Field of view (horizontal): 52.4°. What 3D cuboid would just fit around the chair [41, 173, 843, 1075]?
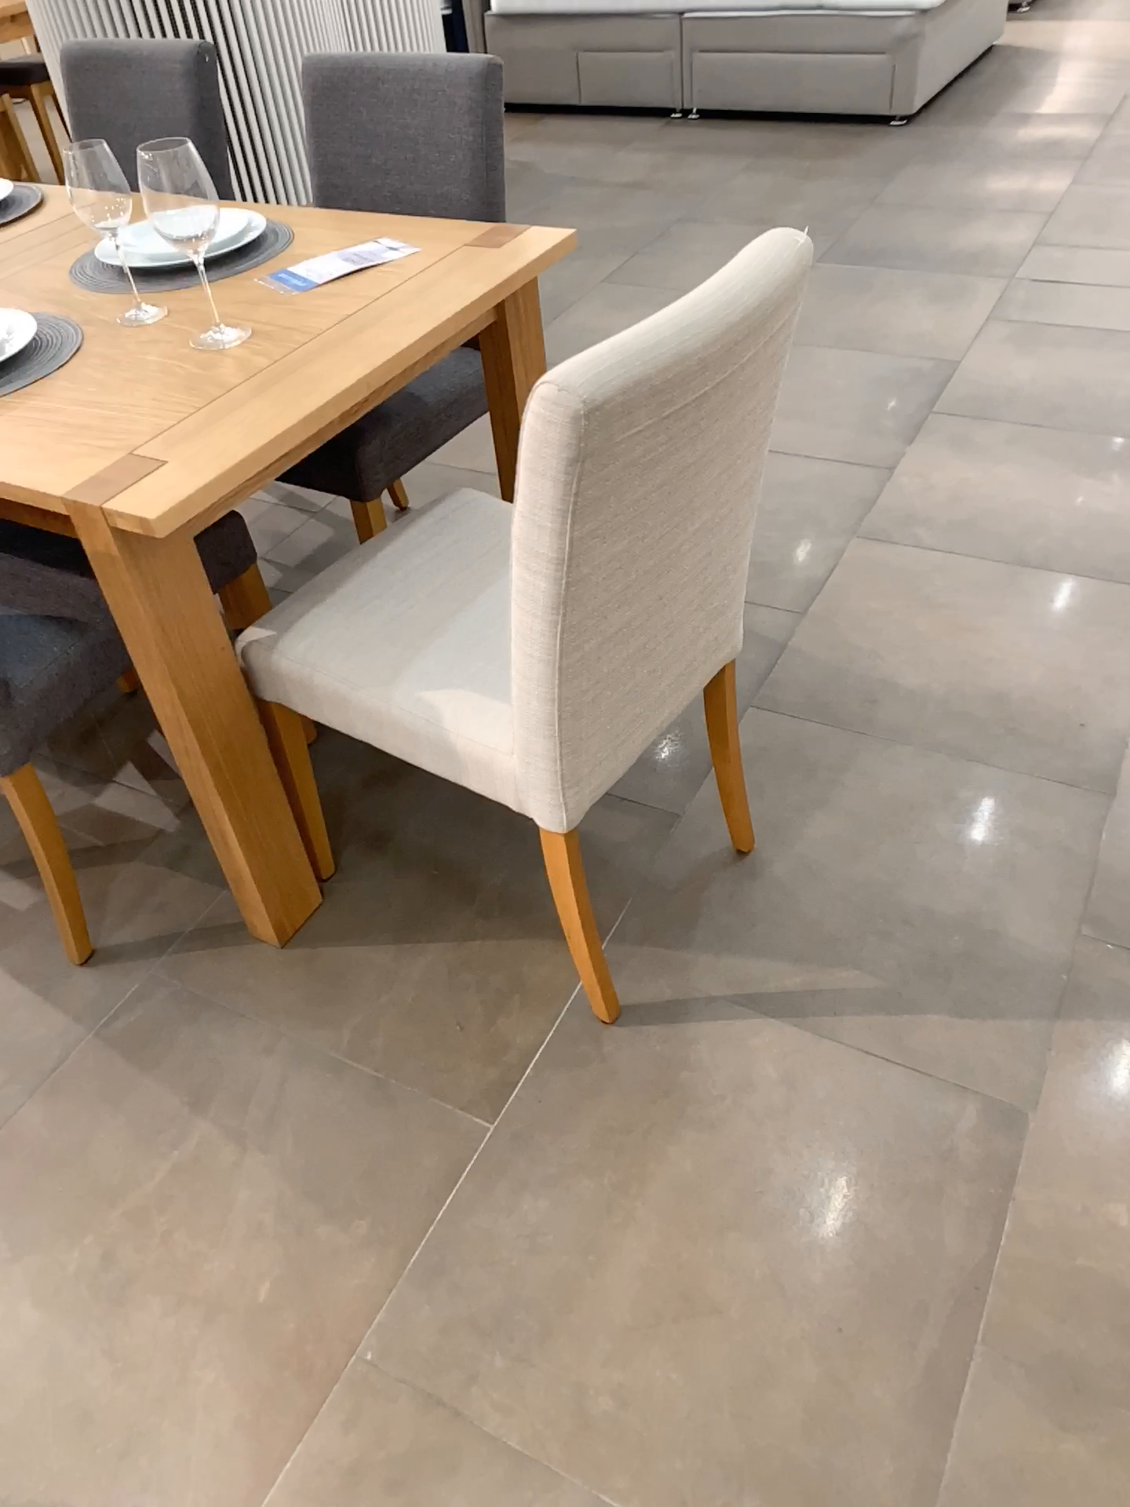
[{"bbox_3d":[-0.087,-0.184,1.453,0.645,0.838,0.539,22,48,31],"label":"chair"}]
